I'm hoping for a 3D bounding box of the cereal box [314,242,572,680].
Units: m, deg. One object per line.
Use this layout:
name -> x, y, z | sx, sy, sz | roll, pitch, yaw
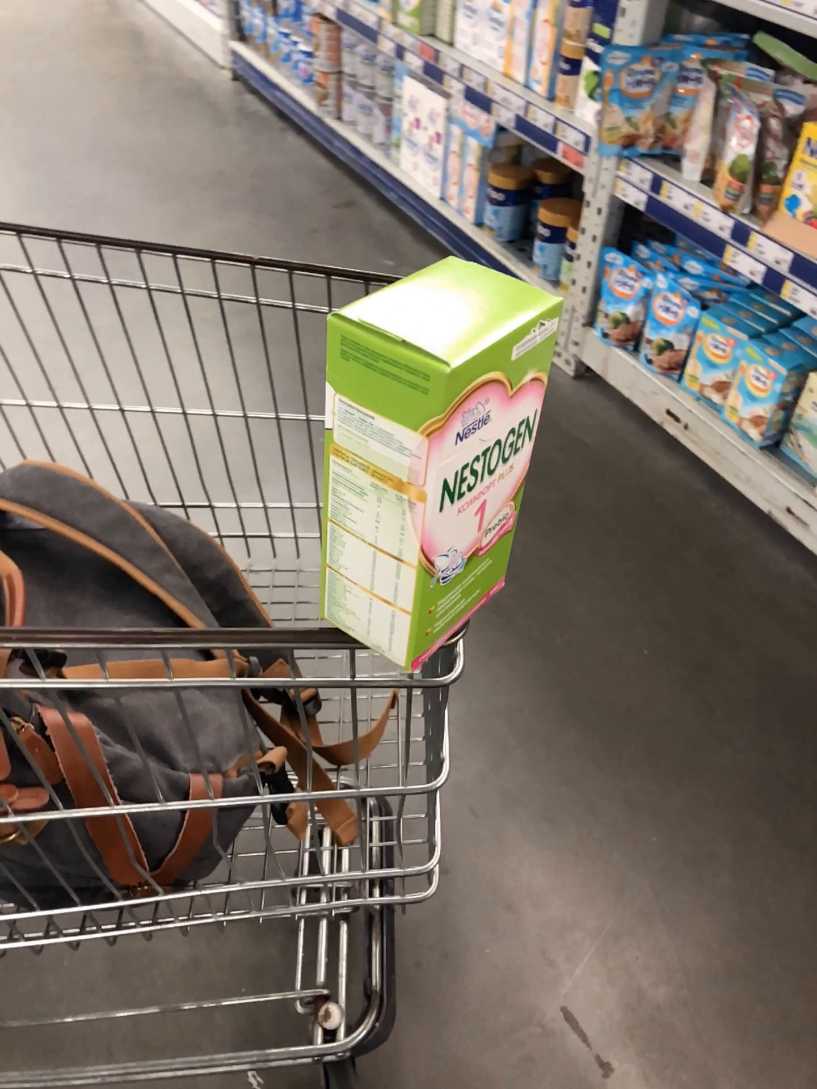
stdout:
cereal box -> 0.012, -0.040, 0.463 | 0.070, 0.189, 0.101 | 28, 45, 24
